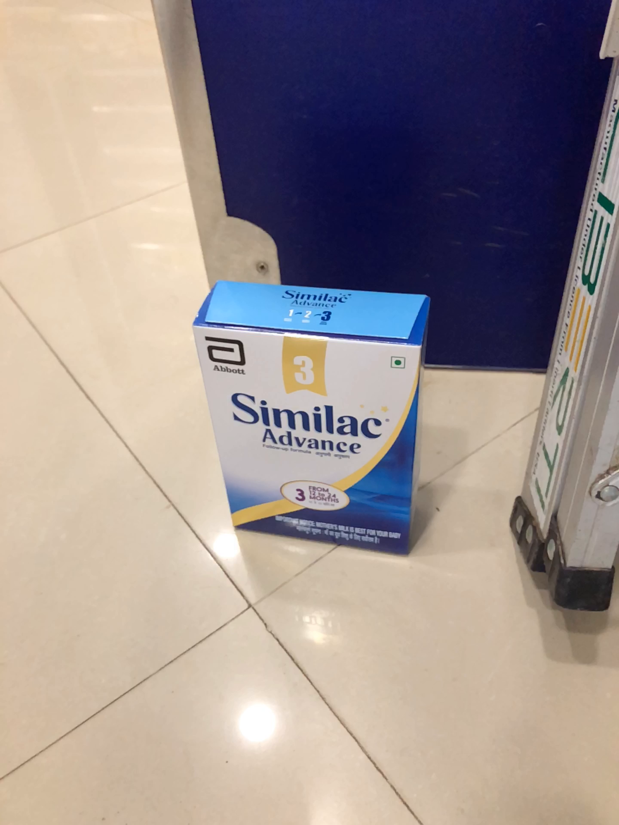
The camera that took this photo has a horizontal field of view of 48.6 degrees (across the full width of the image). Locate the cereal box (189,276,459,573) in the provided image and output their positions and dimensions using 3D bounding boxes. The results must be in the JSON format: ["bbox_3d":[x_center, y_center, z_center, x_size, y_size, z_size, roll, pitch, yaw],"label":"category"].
[{"bbox_3d":[0.015,0.016,0.444,0.140,0.199,0.050,7,46,13],"label":"cereal box"}]
